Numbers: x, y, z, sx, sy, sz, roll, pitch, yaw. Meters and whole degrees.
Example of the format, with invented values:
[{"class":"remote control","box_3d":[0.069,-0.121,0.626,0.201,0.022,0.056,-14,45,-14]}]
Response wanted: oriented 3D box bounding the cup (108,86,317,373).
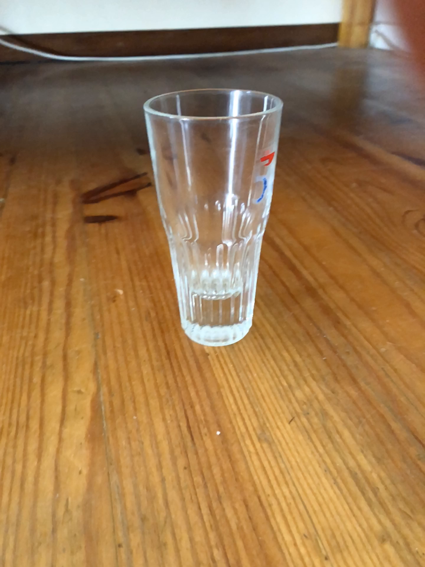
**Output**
[{"class":"cup","box_3d":[0.002,-0.030,0.240,0.068,0.116,0.064,-1,31,0]}]
